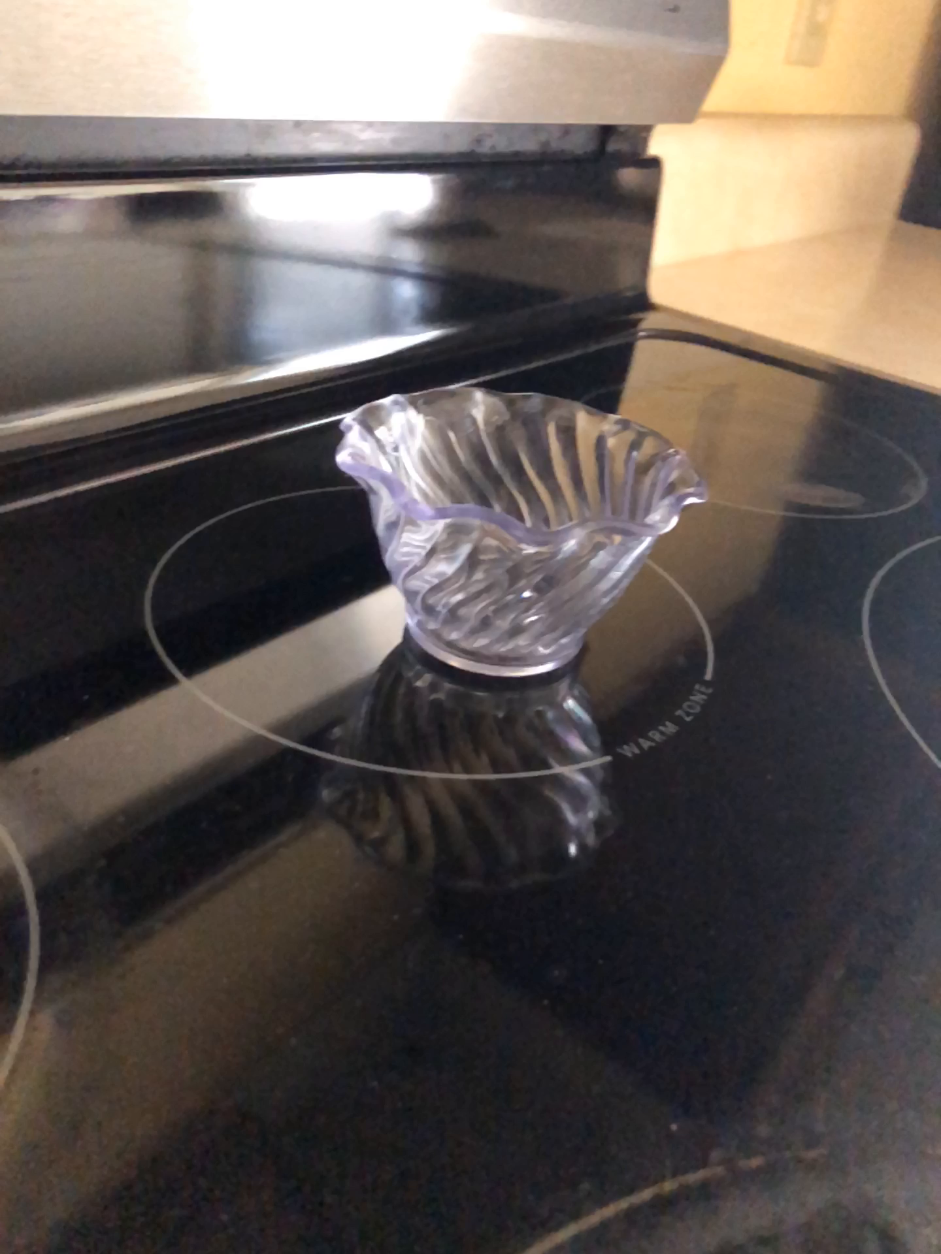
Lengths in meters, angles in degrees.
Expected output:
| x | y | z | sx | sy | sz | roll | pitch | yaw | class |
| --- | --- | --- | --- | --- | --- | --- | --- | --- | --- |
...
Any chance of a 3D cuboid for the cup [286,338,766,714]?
| x | y | z | sx | sy | sz | roll | pitch | yaw | class |
| --- | --- | --- | --- | --- | --- | --- | --- | --- | --- |
| 0.008 | -0.031 | 0.275 | 0.100 | 0.052 | 0.101 | 6 | 30 | -3 | cup |
